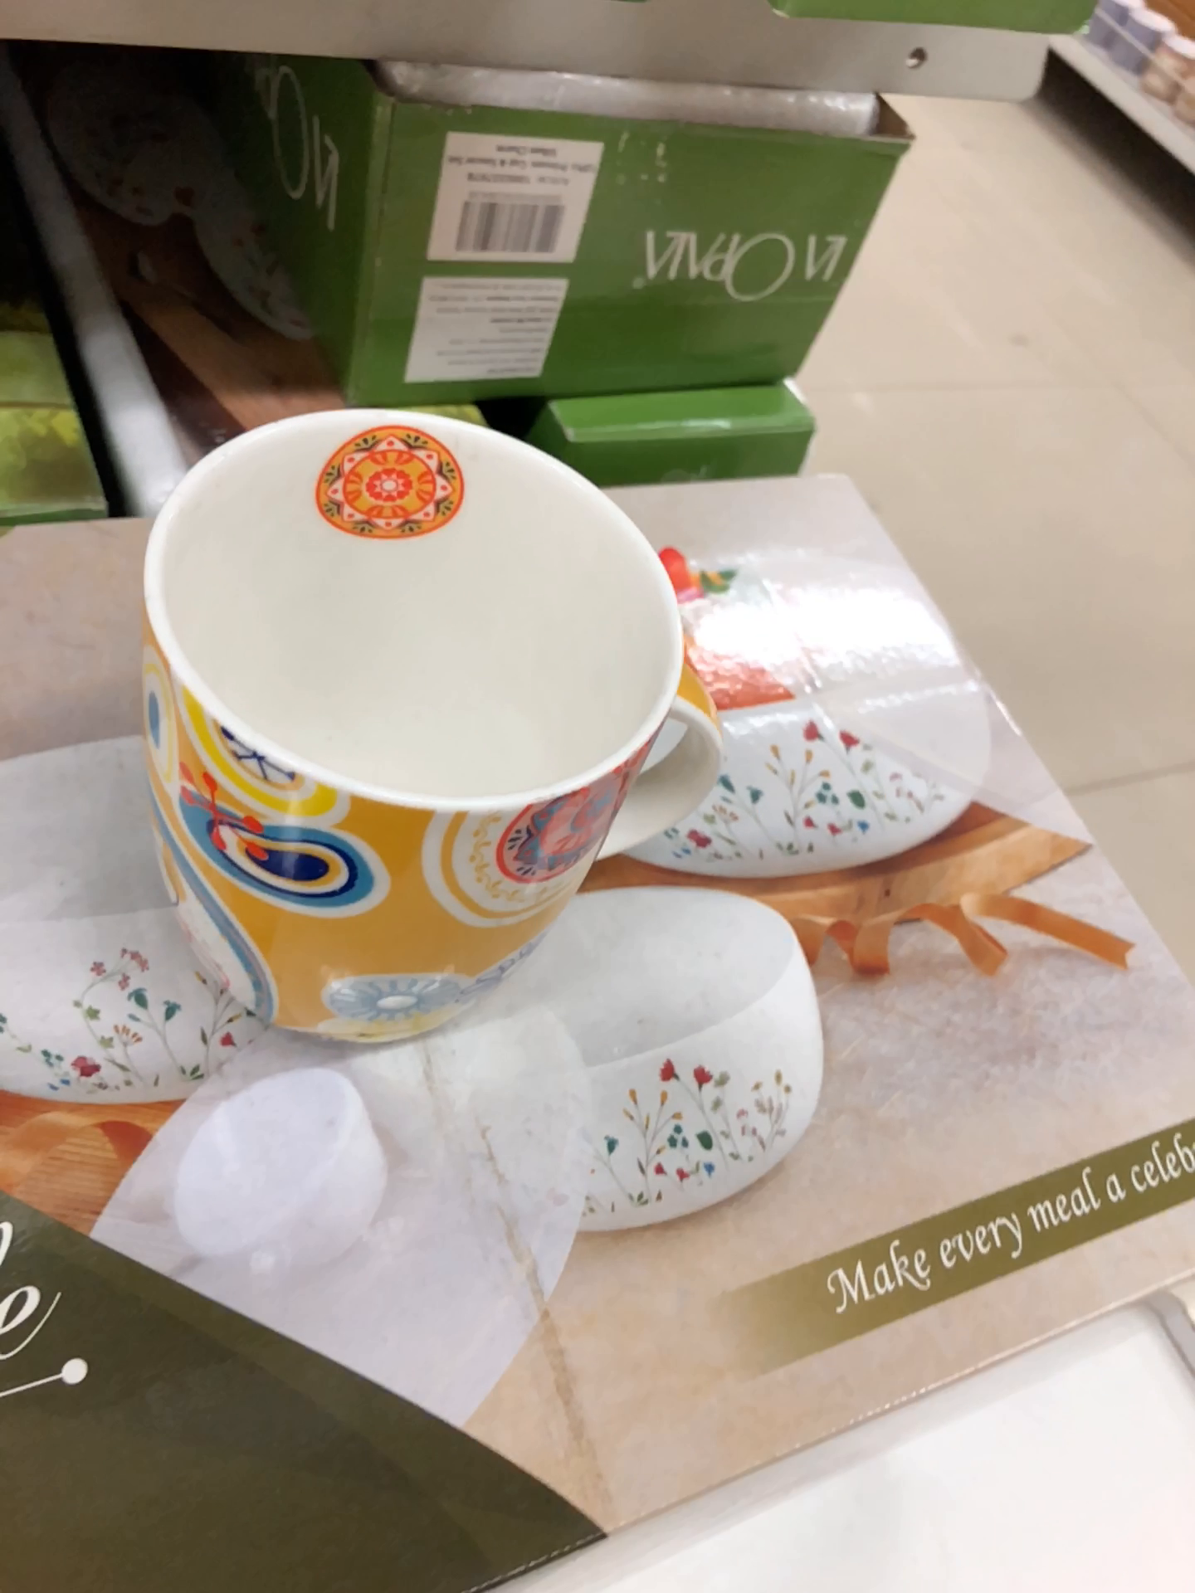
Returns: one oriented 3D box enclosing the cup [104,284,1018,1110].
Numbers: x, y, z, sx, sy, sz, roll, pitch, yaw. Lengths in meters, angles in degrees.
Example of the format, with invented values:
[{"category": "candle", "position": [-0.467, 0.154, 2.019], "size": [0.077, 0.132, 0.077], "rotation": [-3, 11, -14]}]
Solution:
[{"category": "cup", "position": [-0.019, -0.014, 0.227], "size": [0.120, 0.089, 0.090], "rotation": [-1, 52, -20]}]
